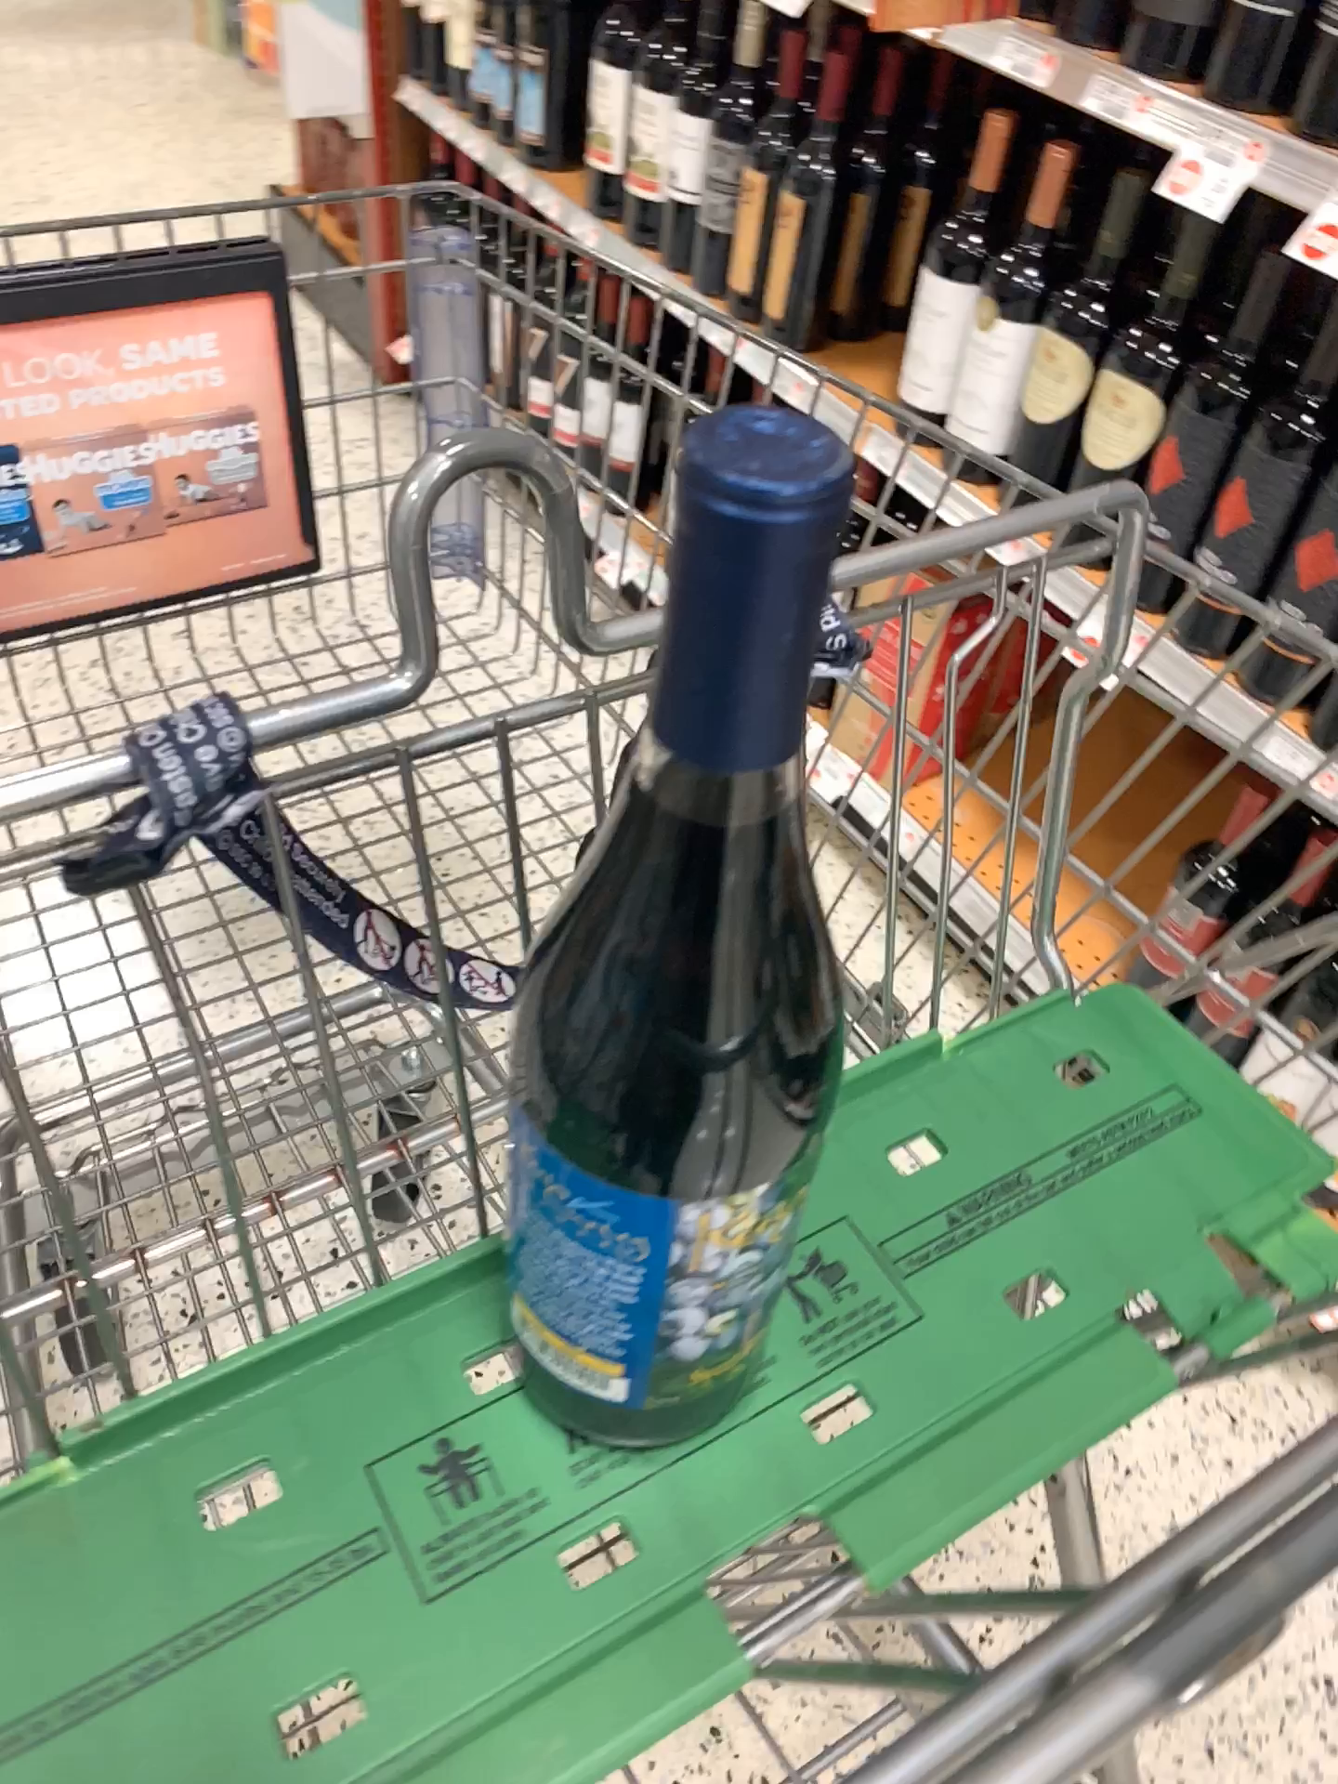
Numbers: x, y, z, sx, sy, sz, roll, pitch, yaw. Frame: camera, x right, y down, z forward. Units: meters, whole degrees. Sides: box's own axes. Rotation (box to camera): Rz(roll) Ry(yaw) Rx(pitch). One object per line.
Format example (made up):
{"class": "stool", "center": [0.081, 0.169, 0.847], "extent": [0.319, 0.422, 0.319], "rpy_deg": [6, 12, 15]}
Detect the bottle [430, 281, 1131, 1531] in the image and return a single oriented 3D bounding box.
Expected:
{"class": "bottle", "center": [0.008, 0.030, 0.308], "extent": [0.075, 0.286, 0.081], "rpy_deg": [3, 44, -3]}
